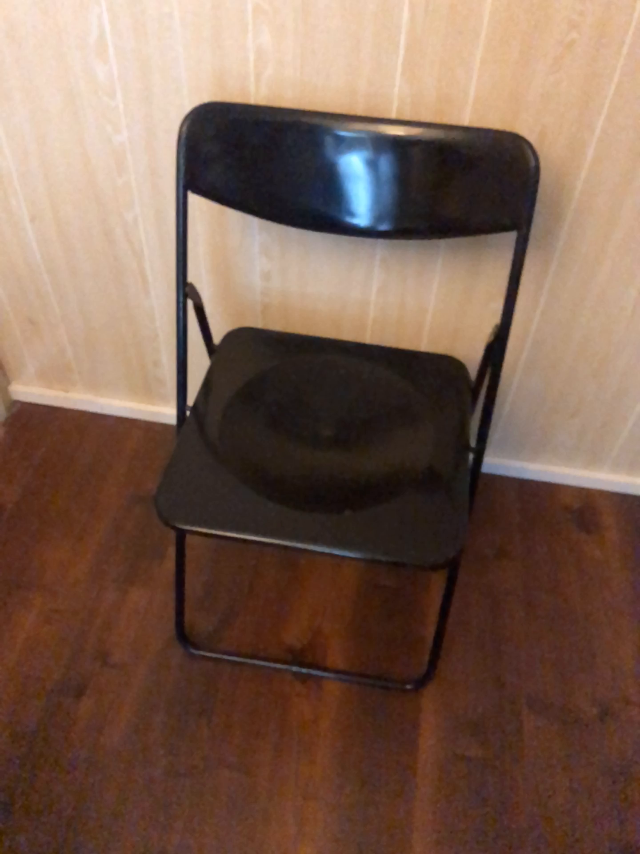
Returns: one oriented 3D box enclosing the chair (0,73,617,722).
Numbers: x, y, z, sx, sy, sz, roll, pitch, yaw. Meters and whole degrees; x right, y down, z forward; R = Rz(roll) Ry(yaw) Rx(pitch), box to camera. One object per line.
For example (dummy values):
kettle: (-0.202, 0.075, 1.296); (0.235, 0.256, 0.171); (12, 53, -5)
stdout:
chair: (0.002, -0.005, 0.940); (0.490, 0.666, 0.473); (8, 49, 5)
